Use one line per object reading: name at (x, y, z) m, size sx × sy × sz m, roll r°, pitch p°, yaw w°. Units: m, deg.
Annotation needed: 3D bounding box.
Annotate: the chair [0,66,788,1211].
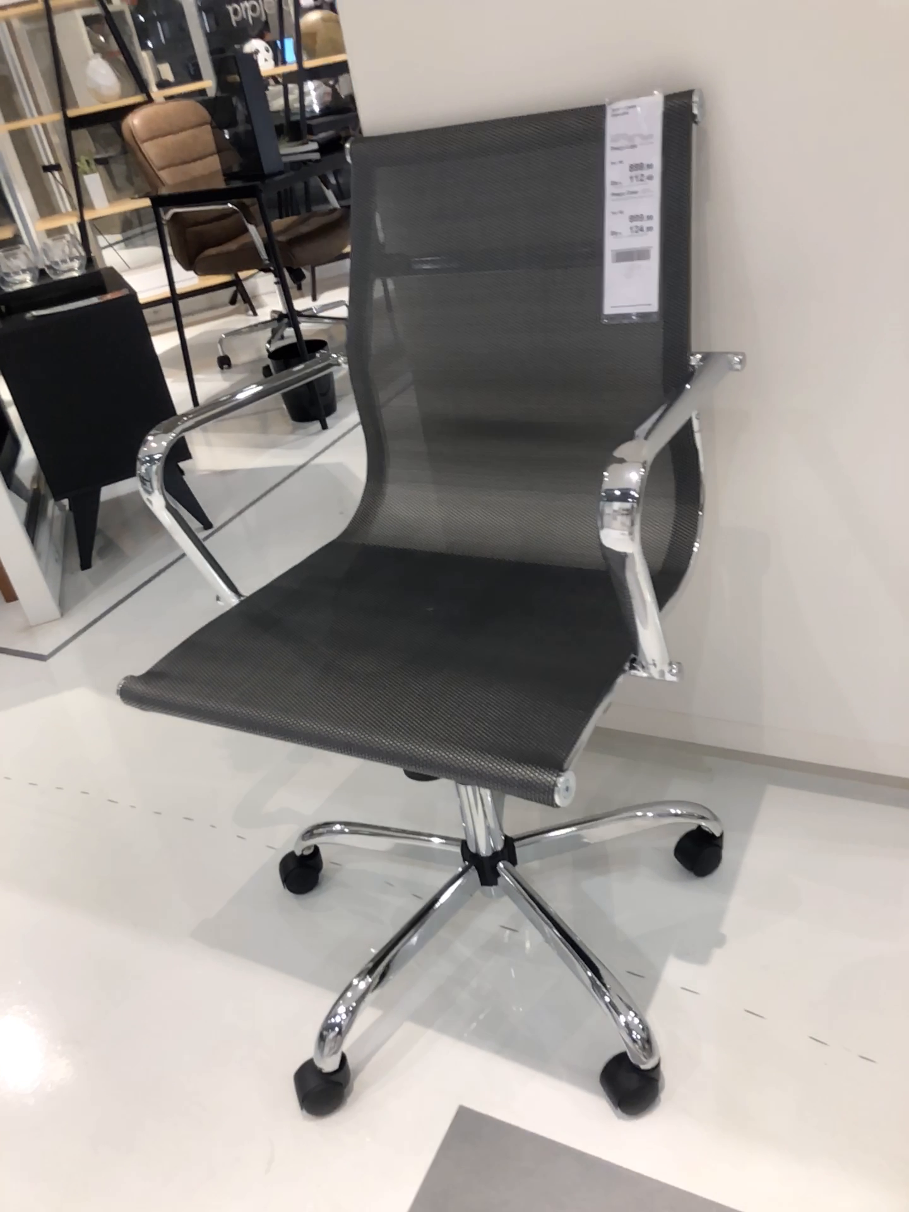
chair at (-0.045, 0.016, 1.073) m, size 0.621 × 0.904 × 0.654 m, roll 7°, pitch 35°, yaw 30°
